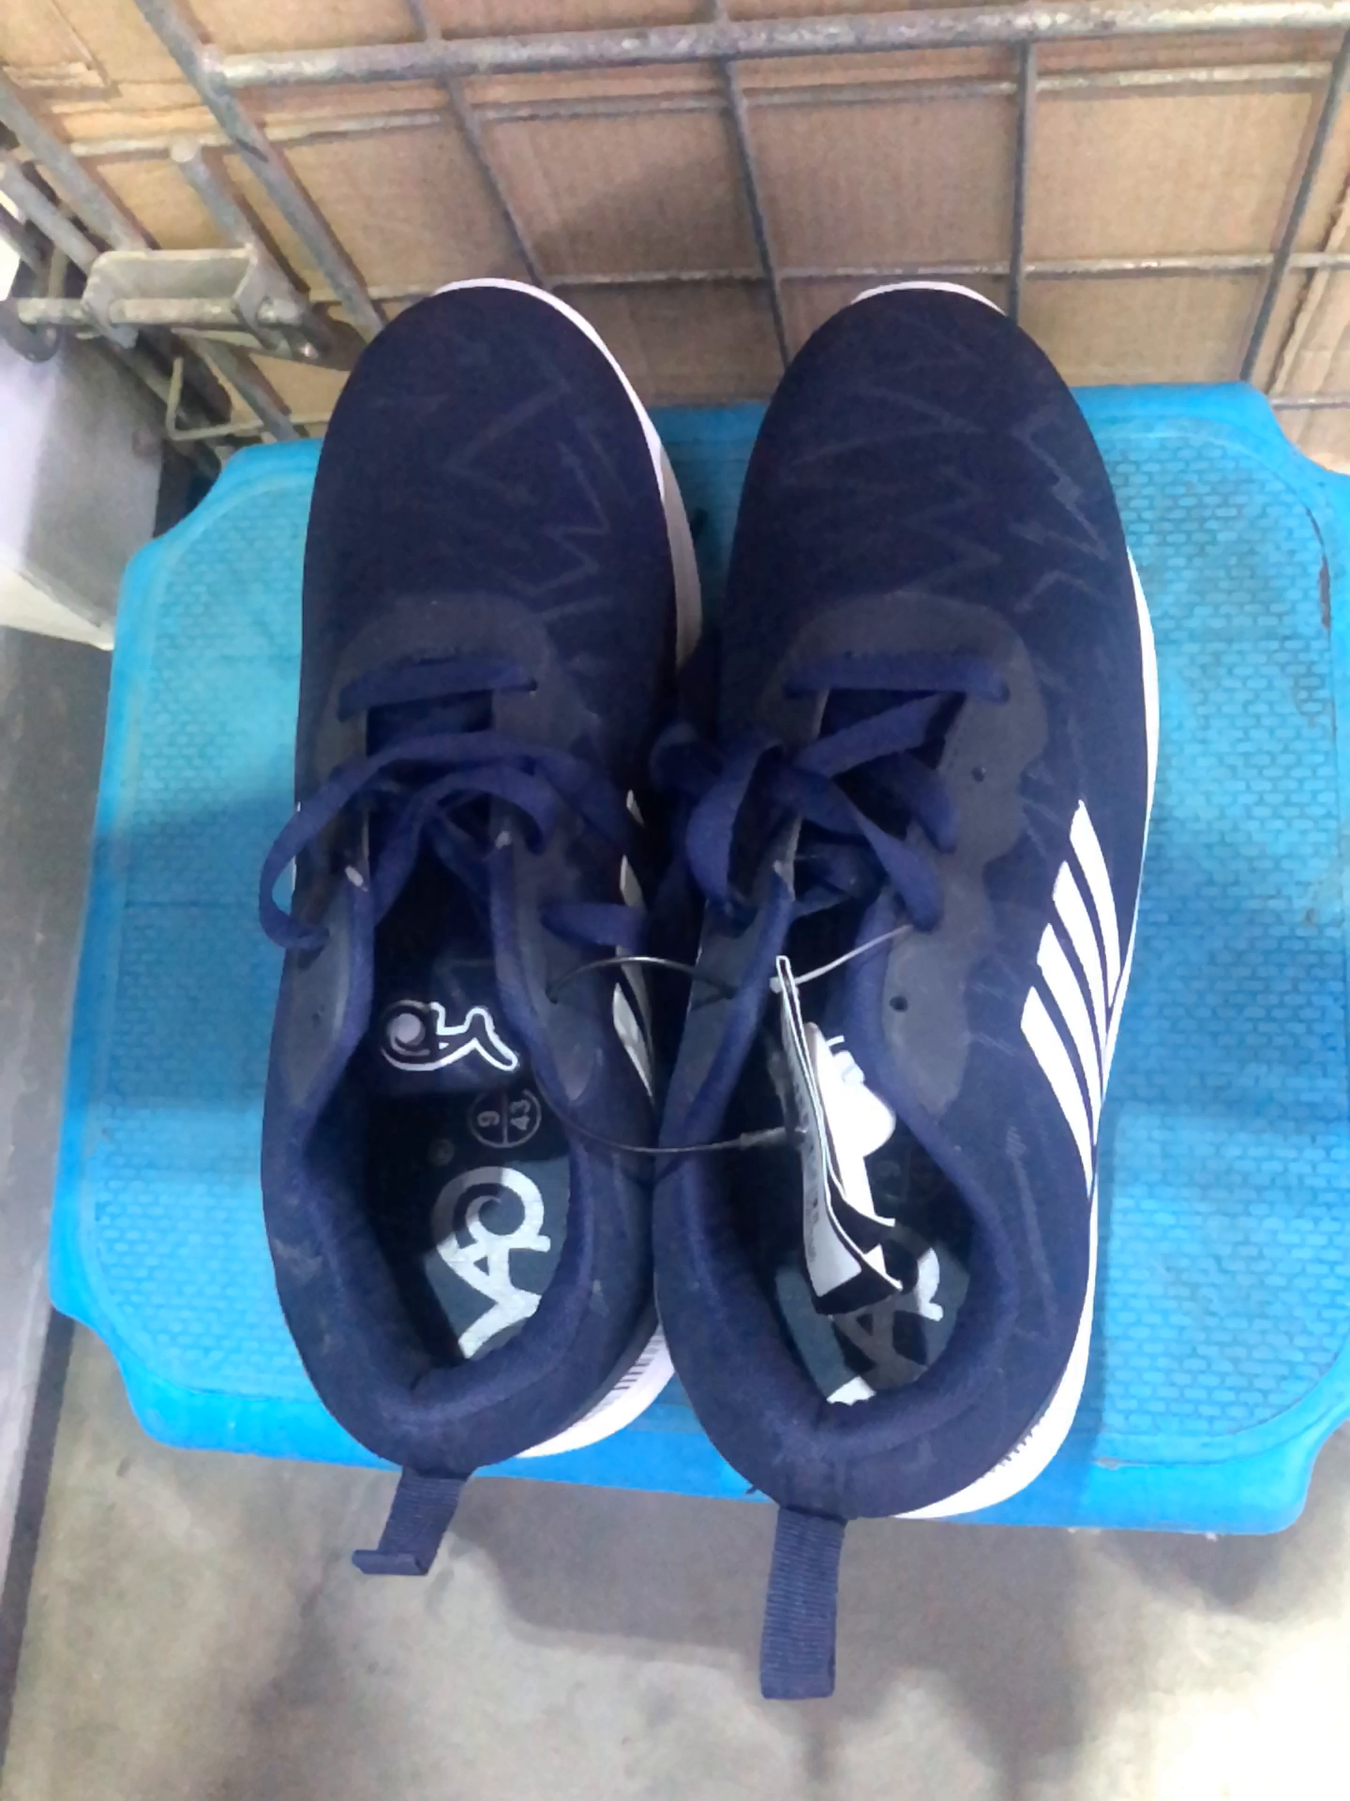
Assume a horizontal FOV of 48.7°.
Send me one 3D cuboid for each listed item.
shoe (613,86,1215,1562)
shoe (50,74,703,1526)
[{"bbox_3d":[0.049,-0.016,0.324,0.100,0.100,0.270,-1,80,10],"label":"shoe"},{"bbox_3d":[-0.053,-0.019,0.327,0.100,0.100,0.270,-2,79,10],"label":"shoe"}]
